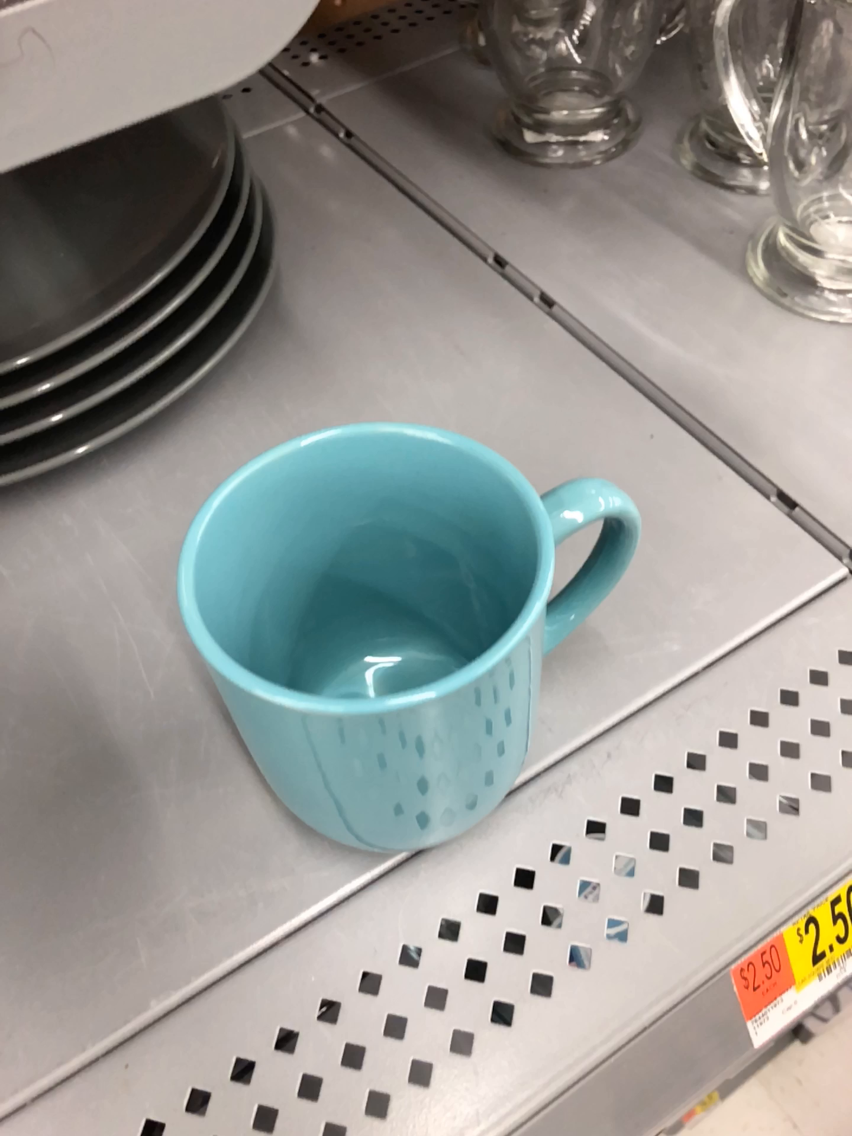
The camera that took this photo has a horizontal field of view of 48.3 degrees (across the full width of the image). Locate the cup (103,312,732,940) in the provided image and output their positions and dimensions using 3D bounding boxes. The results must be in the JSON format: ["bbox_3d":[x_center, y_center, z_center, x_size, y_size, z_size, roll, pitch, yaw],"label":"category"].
[{"bbox_3d":[-0.001,0.014,0.256,0.114,0.091,0.091,-31,57,-17],"label":"cup"}]
